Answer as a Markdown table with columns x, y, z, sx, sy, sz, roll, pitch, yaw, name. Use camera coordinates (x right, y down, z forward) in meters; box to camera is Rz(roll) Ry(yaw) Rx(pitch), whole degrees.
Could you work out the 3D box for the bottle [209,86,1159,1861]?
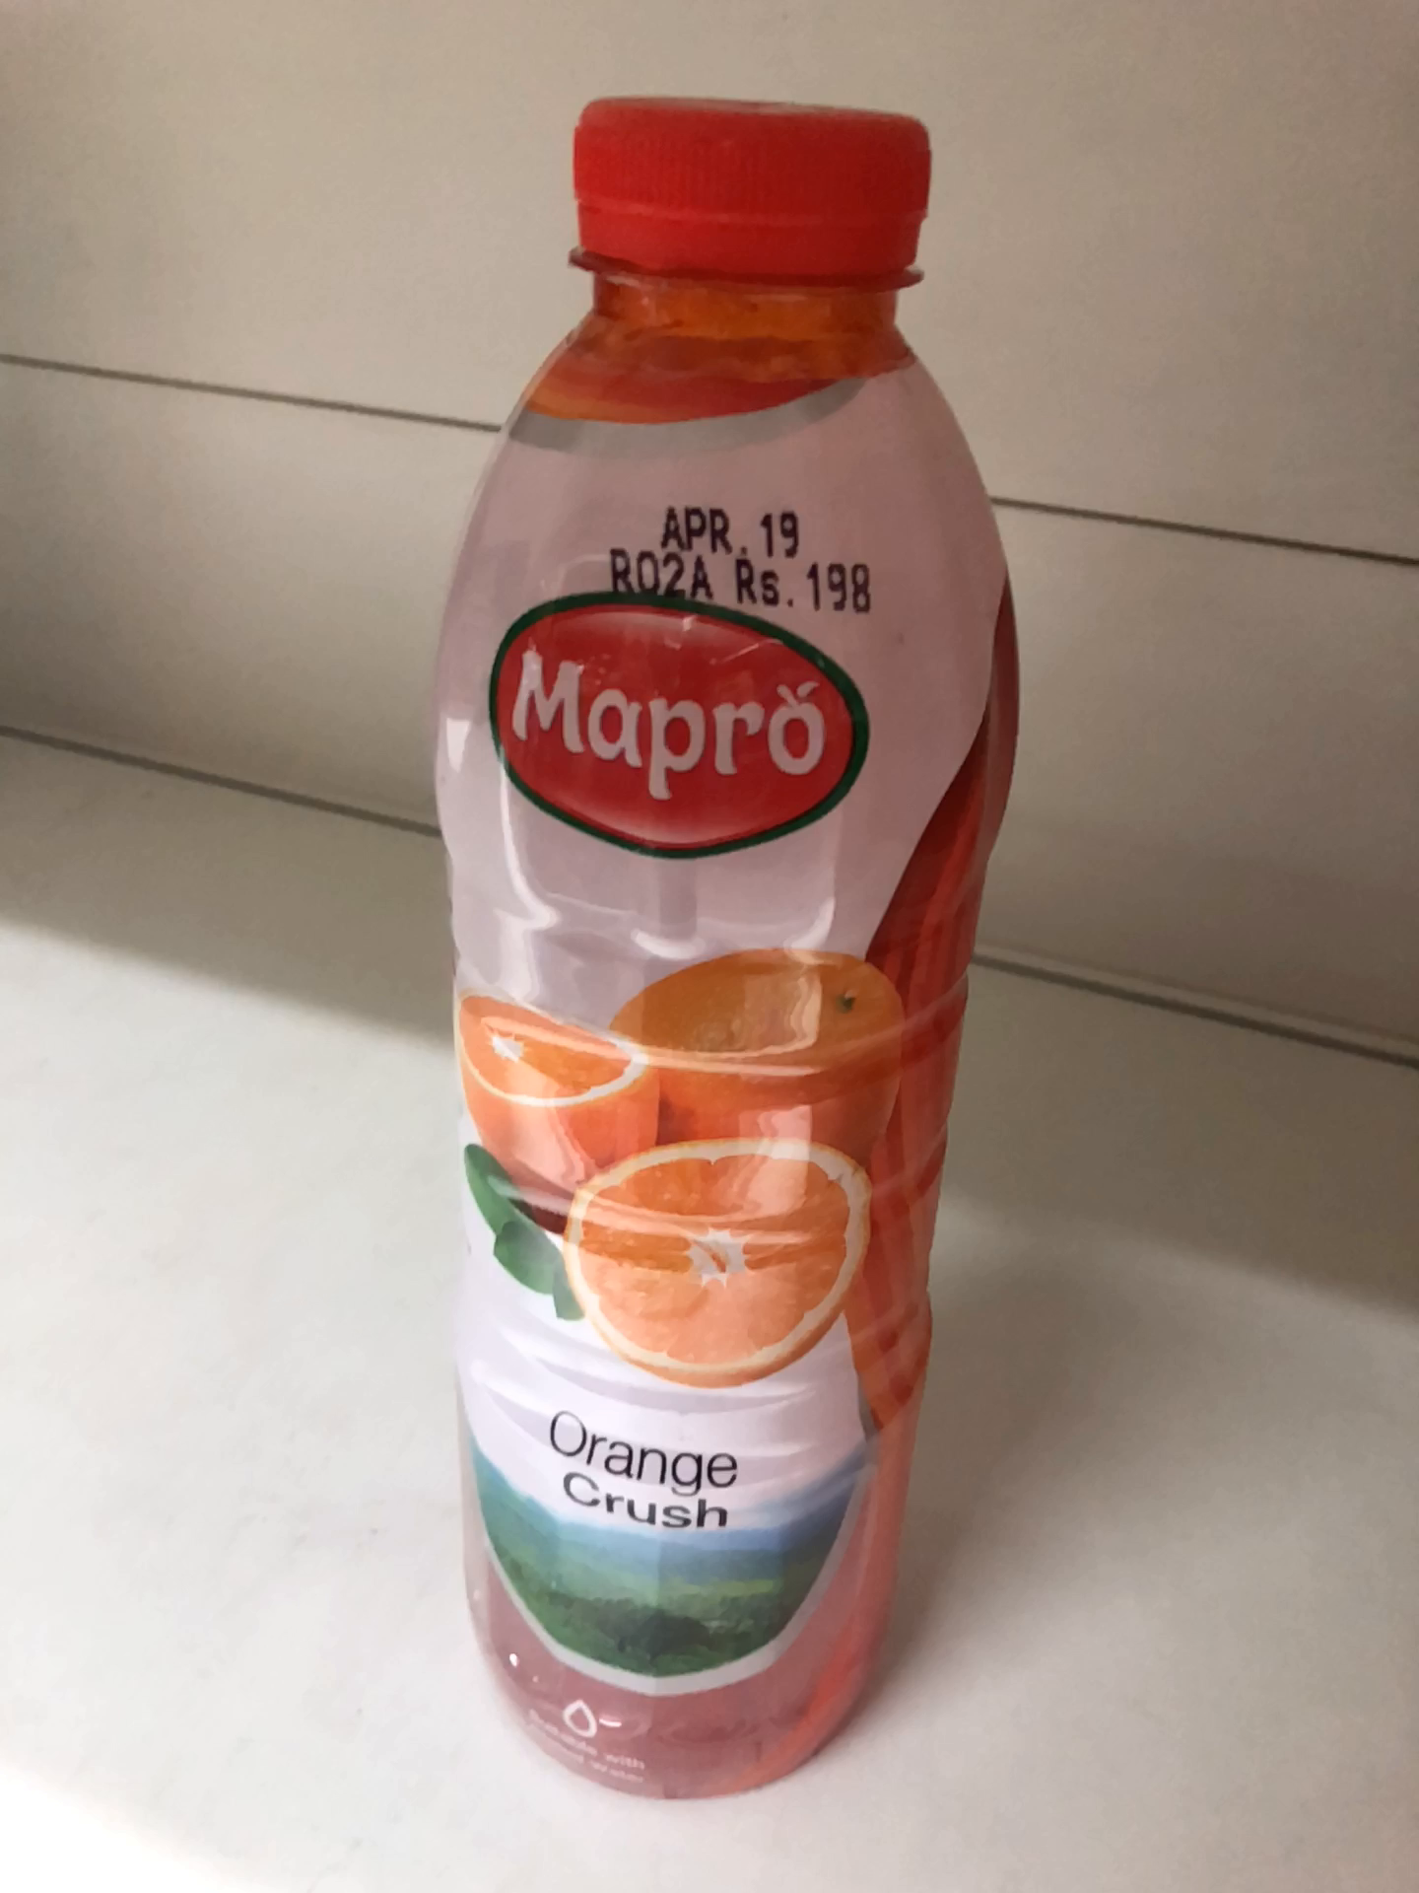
| x | y | z | sx | sy | sz | roll | pitch | yaw | name |
| --- | --- | --- | --- | --- | --- | --- | --- | --- | --- |
| -0.003 | 0.016 | 0.236 | 0.090 | 0.248 | 0.070 | 9 | 30 | 10 | bottle |
